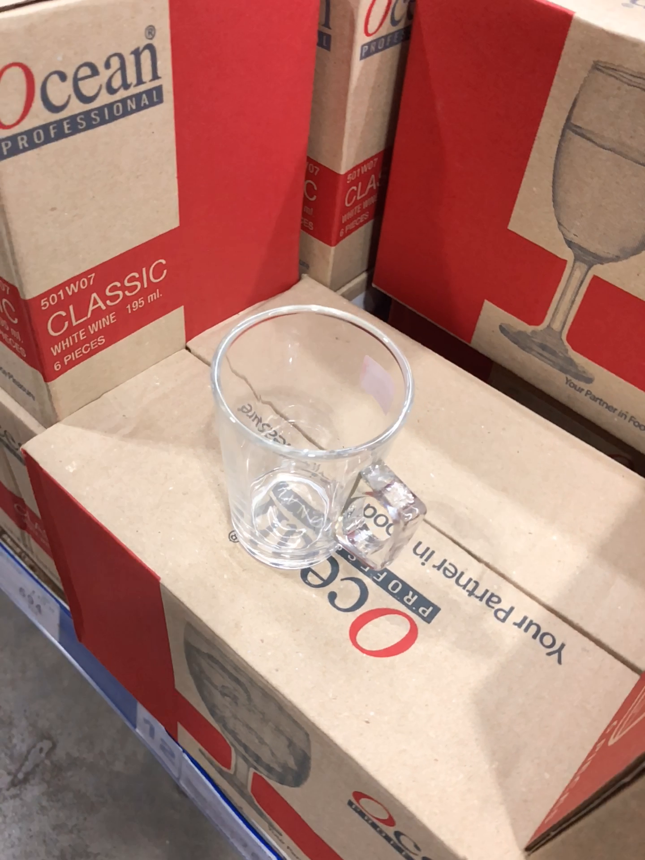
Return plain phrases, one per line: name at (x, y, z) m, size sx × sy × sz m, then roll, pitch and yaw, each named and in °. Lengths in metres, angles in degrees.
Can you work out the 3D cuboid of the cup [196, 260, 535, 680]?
cup at (0.007, 0.015, 0.230) m, size 0.060 × 0.100 × 0.070 m, roll -29°, pitch 58°, yaw -28°
